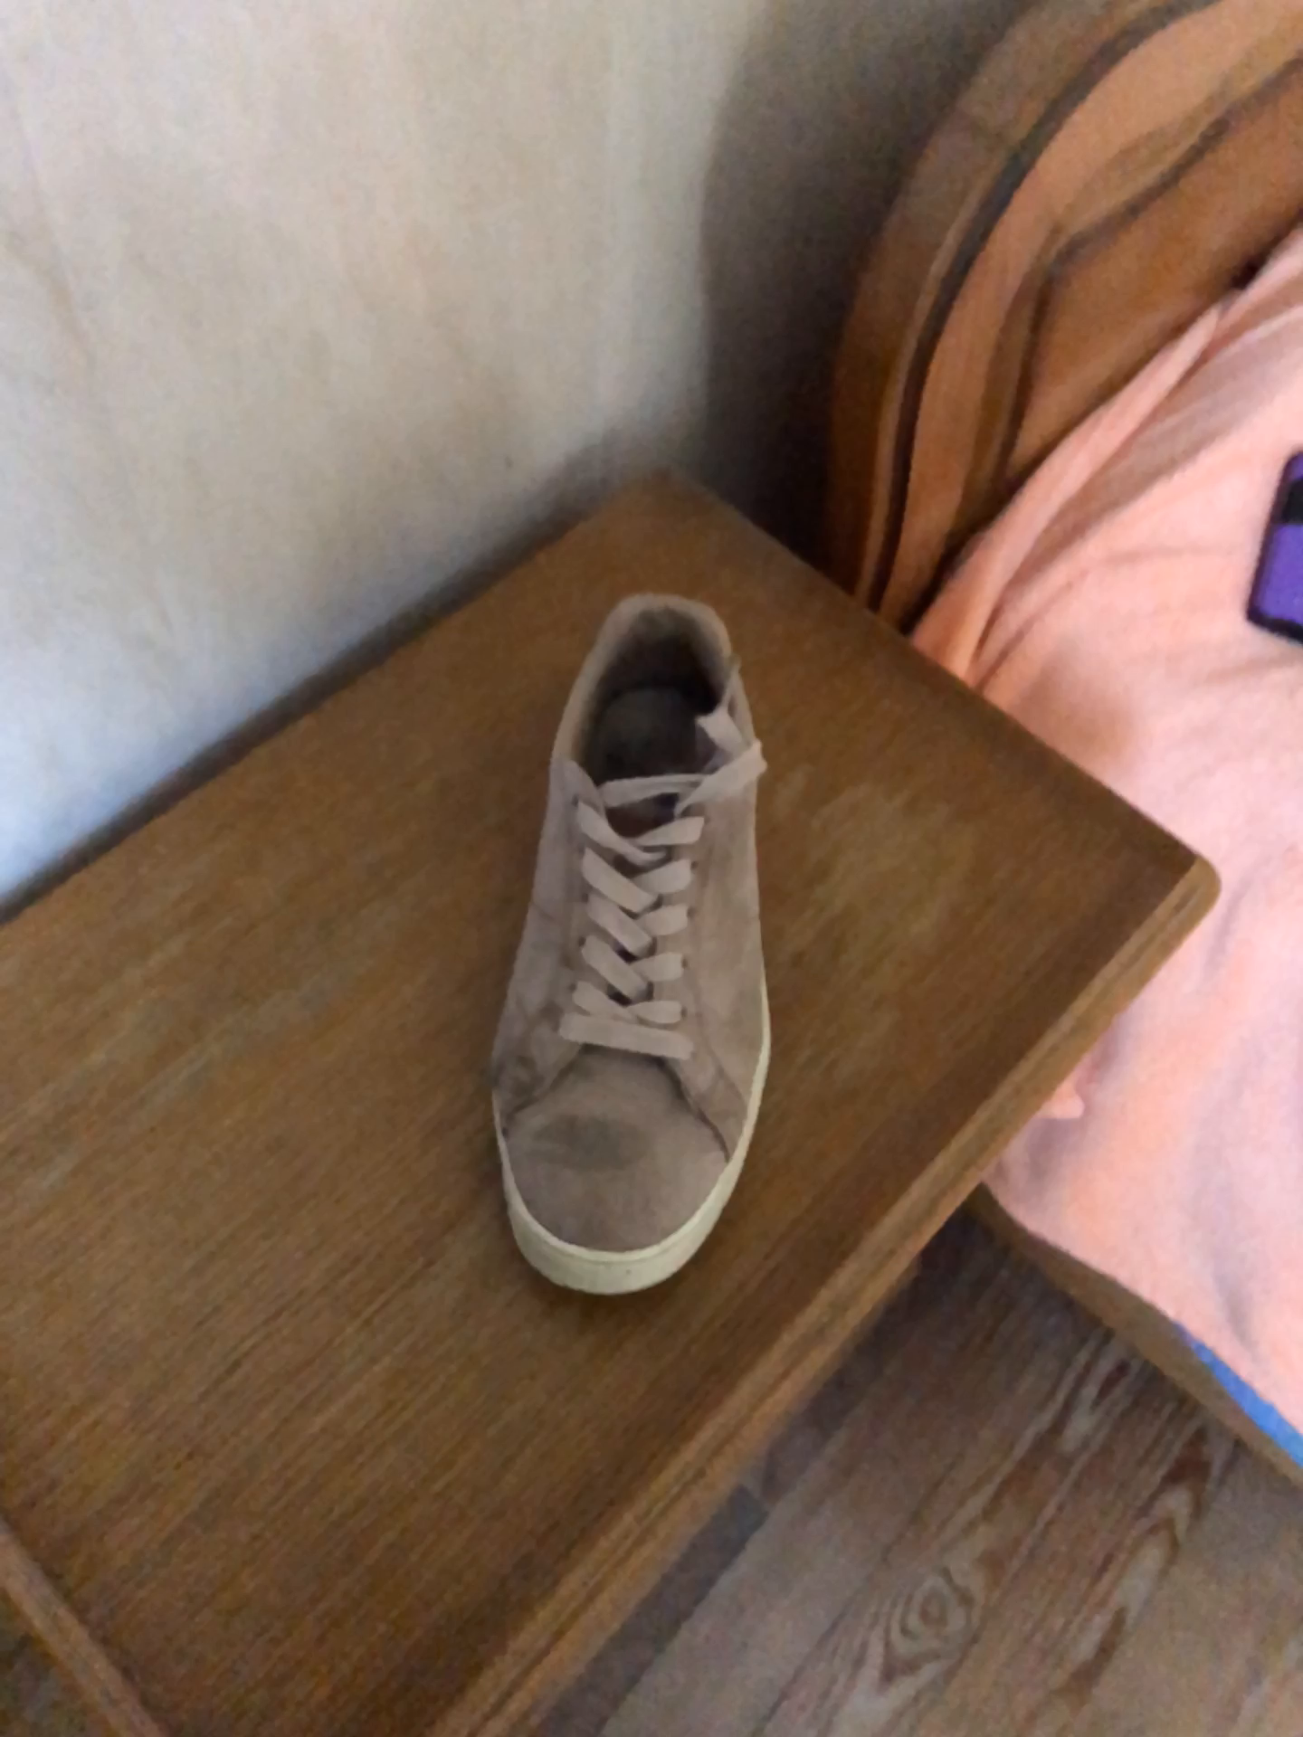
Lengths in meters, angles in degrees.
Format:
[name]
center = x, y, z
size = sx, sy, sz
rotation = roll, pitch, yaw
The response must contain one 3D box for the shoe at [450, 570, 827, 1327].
[shoe]
center = -0.002, 0.021, 0.528
size = 0.110, 0.090, 0.261
rotation = 4, 57, -2
